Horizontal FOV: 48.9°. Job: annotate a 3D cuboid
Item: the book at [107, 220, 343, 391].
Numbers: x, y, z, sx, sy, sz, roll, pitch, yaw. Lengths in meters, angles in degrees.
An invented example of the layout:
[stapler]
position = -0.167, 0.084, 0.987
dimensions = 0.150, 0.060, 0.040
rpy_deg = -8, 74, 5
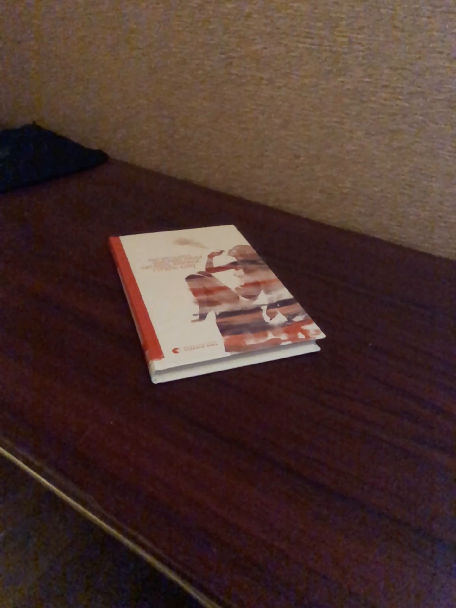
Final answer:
[book]
position = -0.019, -0.017, 0.468
dimensions = 0.150, 0.020, 0.228
rpy_deg = -8, 35, -19
